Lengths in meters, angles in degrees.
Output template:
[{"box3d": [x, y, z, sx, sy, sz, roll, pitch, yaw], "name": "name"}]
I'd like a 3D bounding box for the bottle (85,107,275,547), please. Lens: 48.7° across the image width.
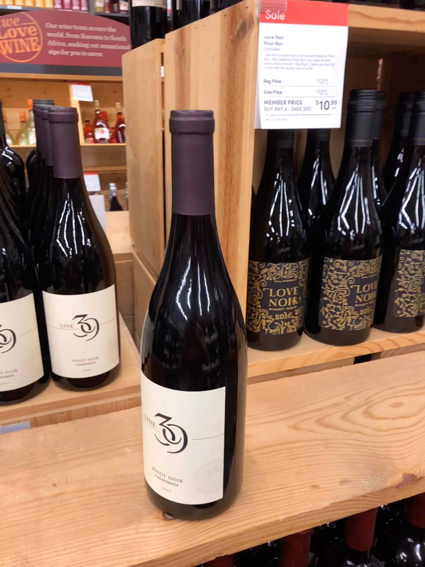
[{"box3d": [-0.018, 0.029, 0.326, 0.080, 0.283, 0.080, 1, 20, 0], "name": "bottle"}]
